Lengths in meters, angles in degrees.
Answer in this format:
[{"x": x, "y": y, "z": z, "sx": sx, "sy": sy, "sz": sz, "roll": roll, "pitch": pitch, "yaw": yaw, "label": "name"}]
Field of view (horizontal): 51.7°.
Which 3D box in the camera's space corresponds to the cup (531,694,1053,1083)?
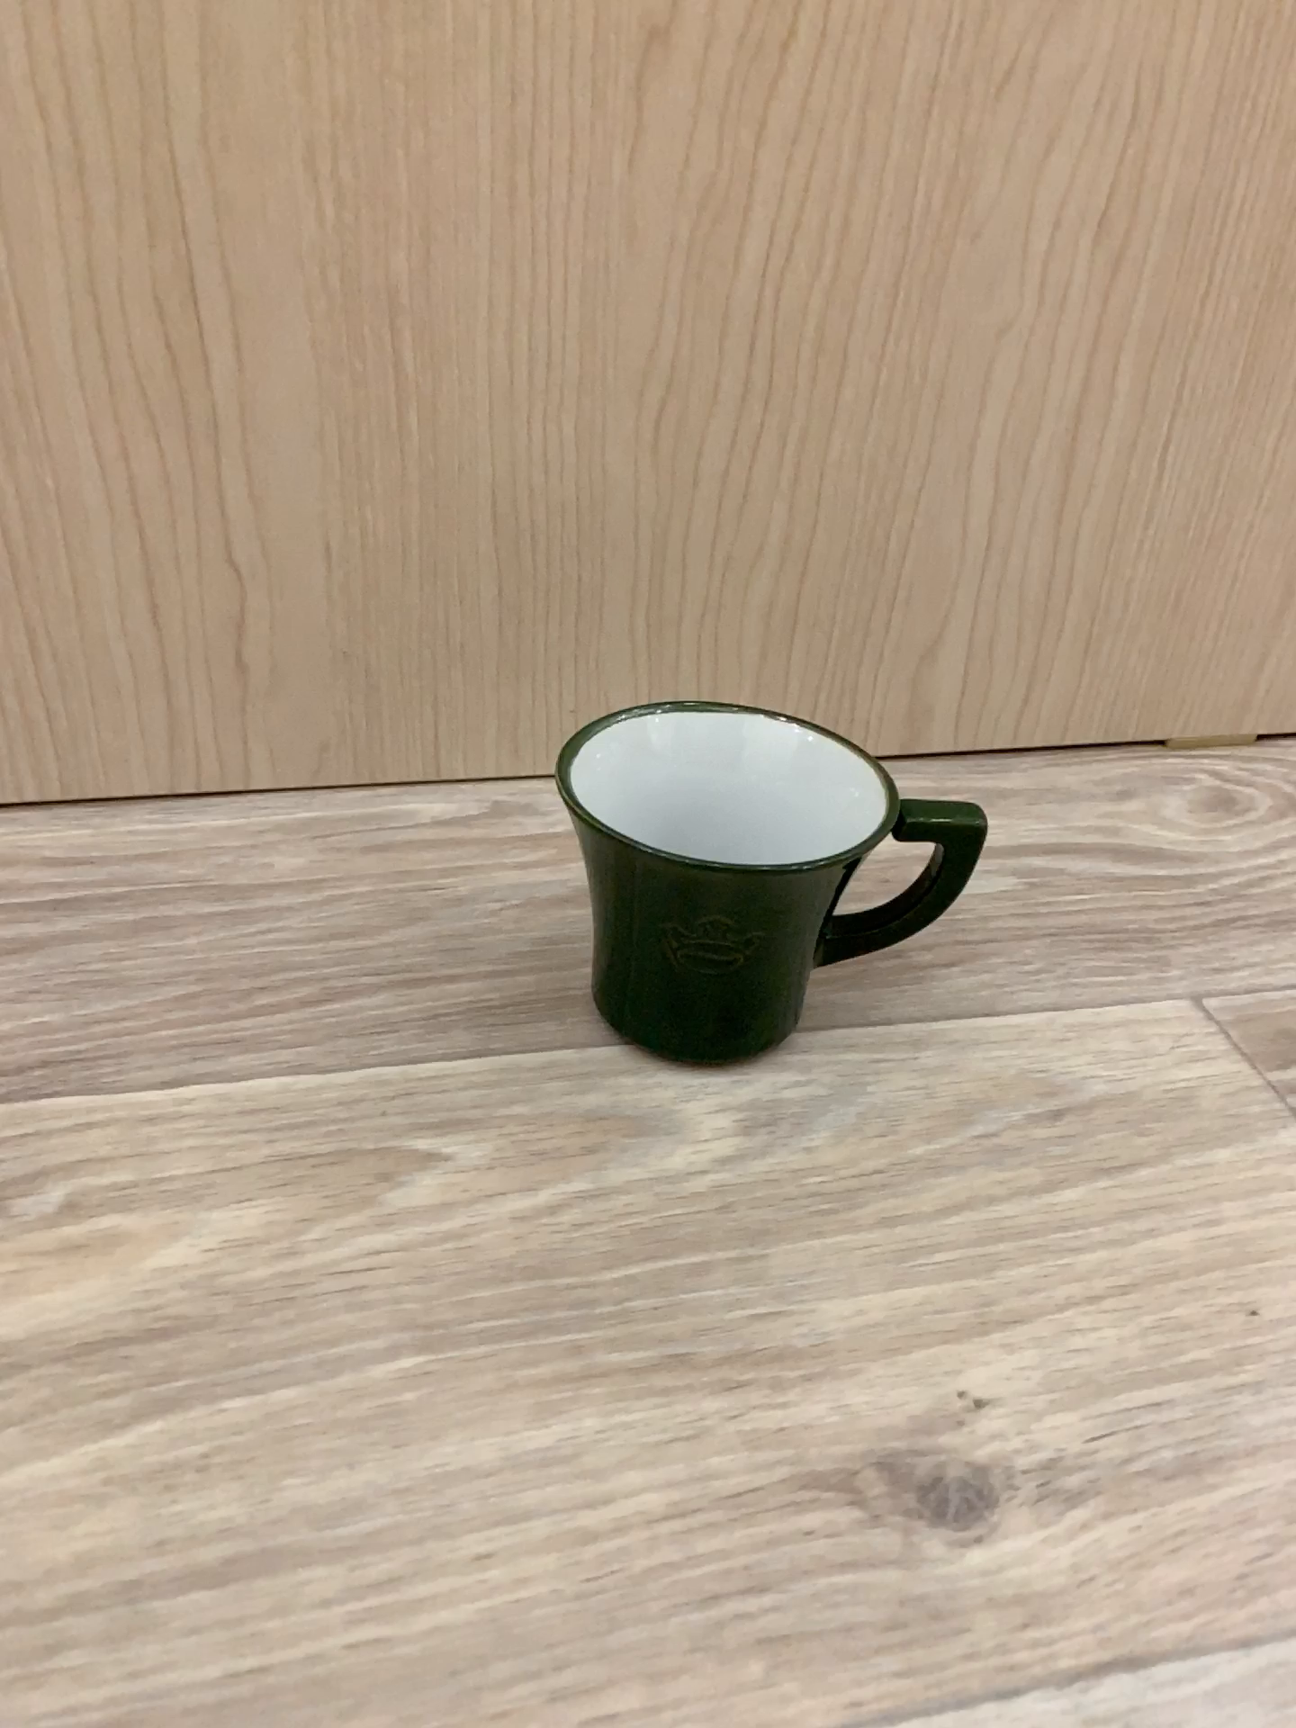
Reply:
[{"x": 0.029, "y": 0.003, "z": 0.332, "sx": 0.106, "sy": 0.061, "sz": 0.075, "roll": -2, "pitch": 33, "yaw": -11, "label": "cup"}]
